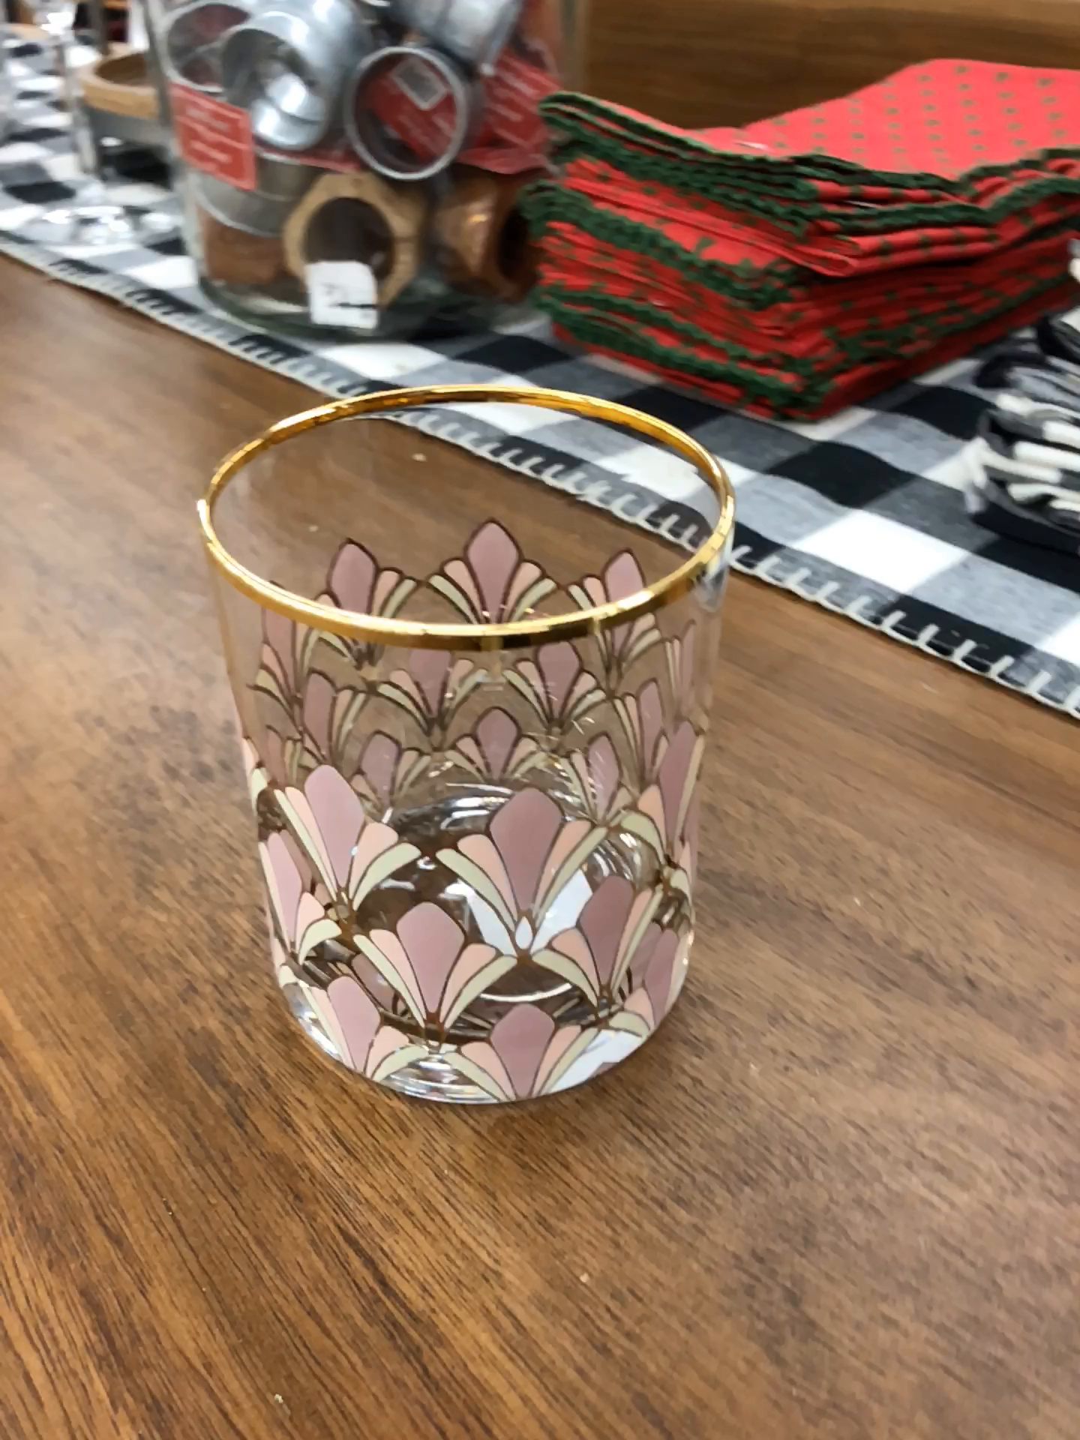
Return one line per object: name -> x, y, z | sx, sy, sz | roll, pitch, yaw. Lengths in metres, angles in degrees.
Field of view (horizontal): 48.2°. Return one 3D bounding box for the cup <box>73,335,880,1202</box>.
cup -> -0.010, 0.001, 0.198 | 0.083, 0.090, 0.081 | 0, 36, 0
